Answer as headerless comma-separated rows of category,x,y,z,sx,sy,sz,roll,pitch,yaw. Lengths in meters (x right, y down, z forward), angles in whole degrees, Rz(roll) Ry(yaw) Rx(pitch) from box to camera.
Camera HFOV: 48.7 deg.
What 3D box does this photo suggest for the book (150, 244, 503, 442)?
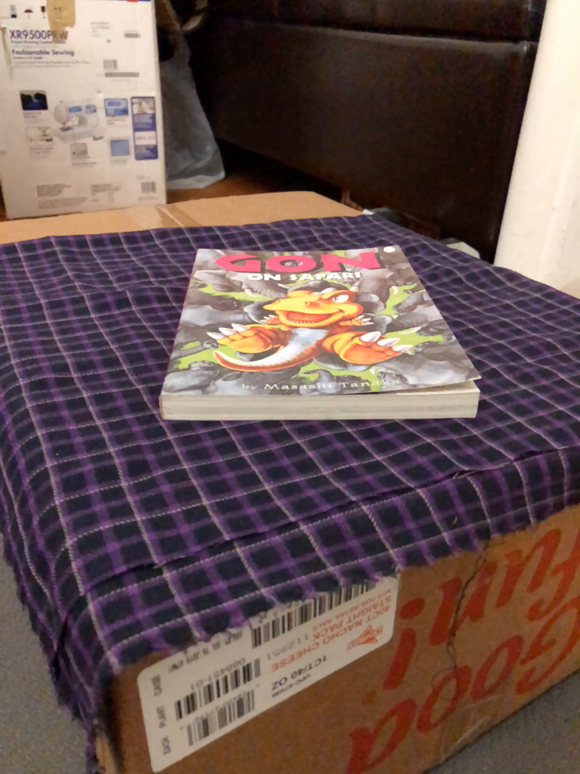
book,0.013,-0.038,0.368,0.150,0.020,0.211,1,30,-3
